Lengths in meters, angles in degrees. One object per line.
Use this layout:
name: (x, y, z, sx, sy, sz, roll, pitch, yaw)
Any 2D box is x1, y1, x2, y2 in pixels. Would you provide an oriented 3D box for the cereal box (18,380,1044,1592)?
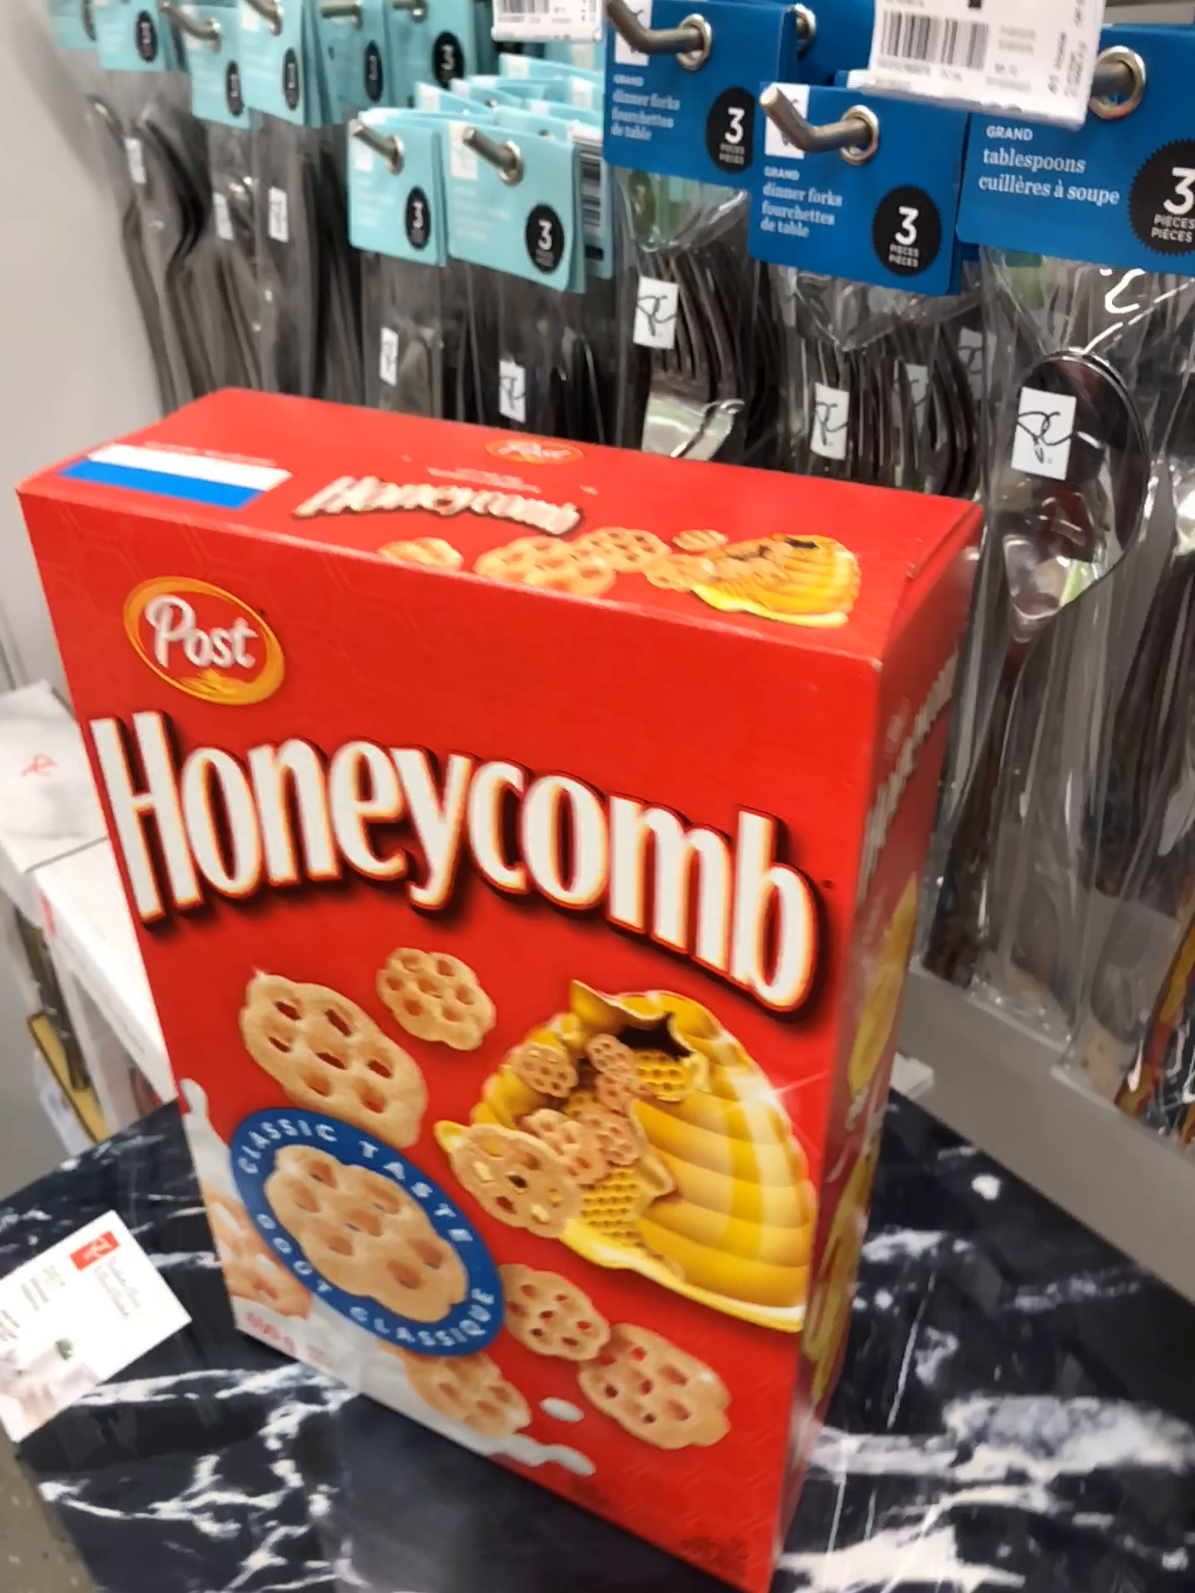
cereal box: (-0.018, 0.059, 0.363, 0.210, 0.299, 0.070, 16, 36, 24)
